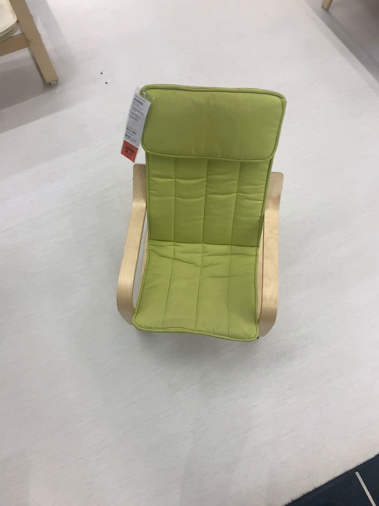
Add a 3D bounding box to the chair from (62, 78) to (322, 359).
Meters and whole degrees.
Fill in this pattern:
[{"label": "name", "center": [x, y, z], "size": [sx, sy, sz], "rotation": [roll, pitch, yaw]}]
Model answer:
[{"label": "chair", "center": [0.029, -0.021, 1.259], "size": [0.520, 0.819, 0.571], "rotation": [3, 67, 3]}]
